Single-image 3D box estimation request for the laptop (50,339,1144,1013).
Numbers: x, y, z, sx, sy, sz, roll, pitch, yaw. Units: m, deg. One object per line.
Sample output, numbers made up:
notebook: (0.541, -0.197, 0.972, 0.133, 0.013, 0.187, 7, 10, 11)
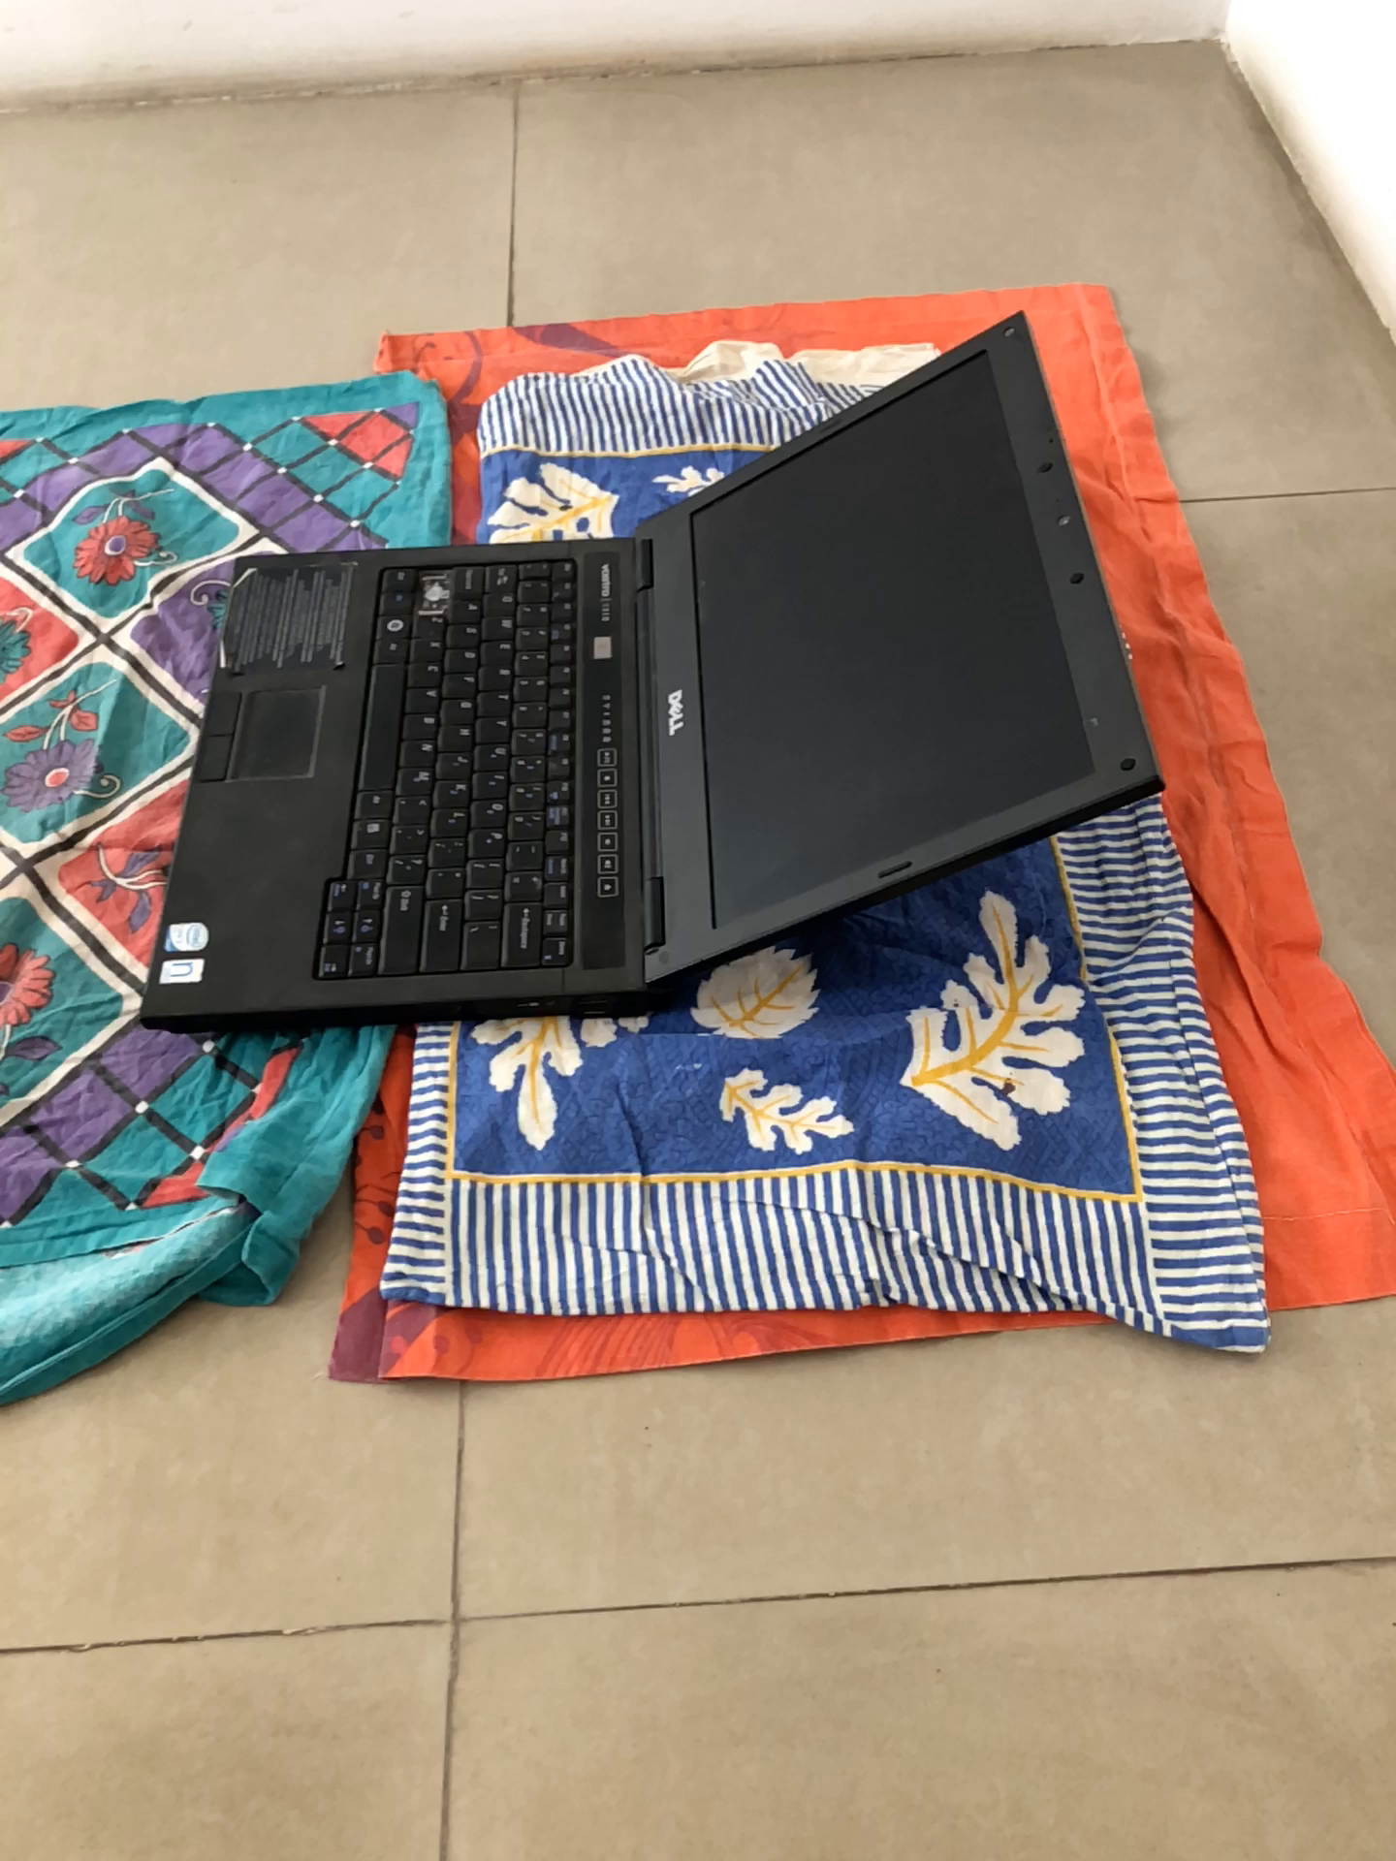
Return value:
laptop: (-0.042, -0.131, 0.731, 0.419, 0.124, 0.307, -2, 53, -1)
